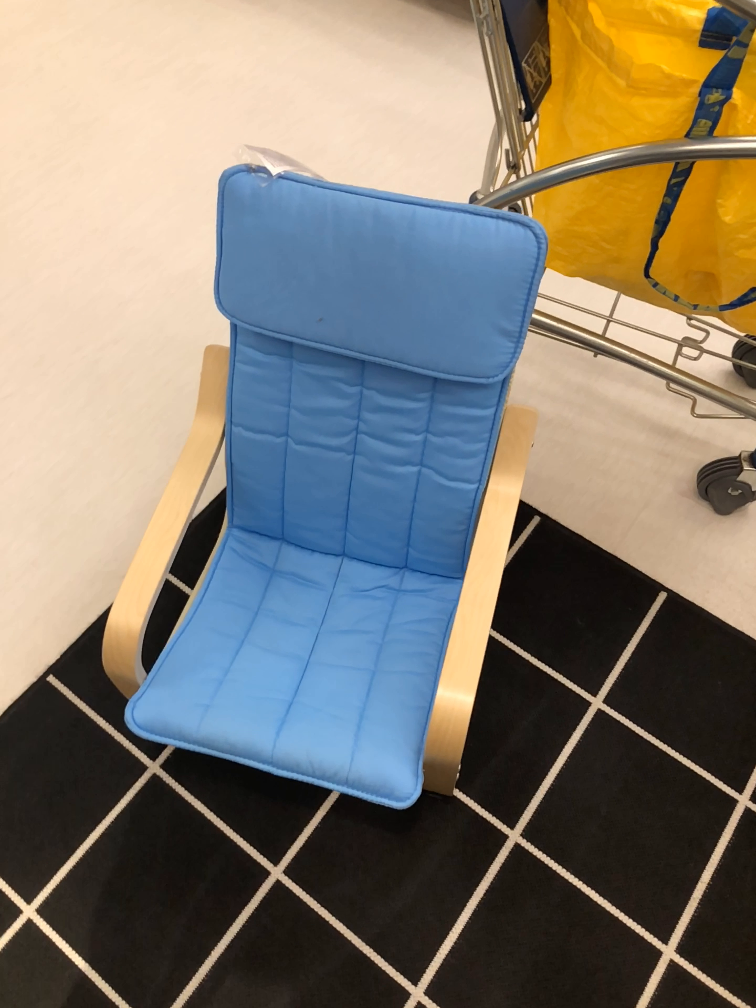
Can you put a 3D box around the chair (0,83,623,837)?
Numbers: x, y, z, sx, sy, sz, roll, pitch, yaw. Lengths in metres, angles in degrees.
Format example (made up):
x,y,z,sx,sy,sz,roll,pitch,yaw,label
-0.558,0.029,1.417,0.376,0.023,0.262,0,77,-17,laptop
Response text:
x,y,z,sx,sy,sz,roll,pitch,yaw,label
-0.051,0.031,1.153,0.490,0.876,0.562,13,60,8,chair
